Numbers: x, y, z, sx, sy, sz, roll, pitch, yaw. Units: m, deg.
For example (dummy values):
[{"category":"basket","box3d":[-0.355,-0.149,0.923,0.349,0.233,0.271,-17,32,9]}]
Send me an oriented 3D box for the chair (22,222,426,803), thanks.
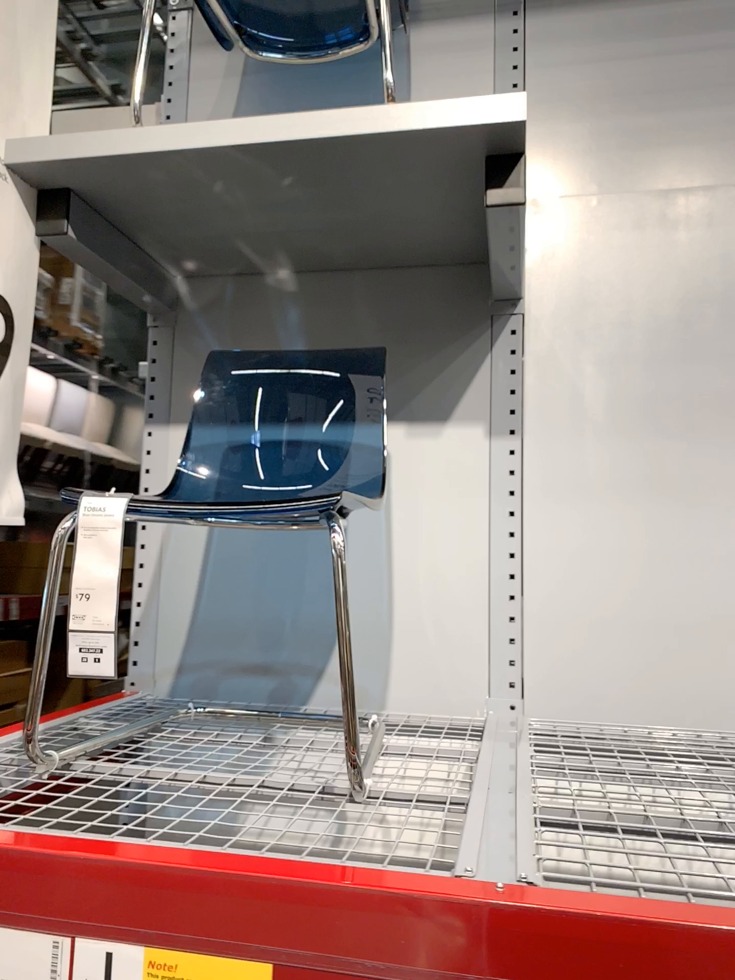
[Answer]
[{"category":"chair","box3d":[-0.200,0.041,1.417,0.530,0.841,0.549,0,-7,13]}]
